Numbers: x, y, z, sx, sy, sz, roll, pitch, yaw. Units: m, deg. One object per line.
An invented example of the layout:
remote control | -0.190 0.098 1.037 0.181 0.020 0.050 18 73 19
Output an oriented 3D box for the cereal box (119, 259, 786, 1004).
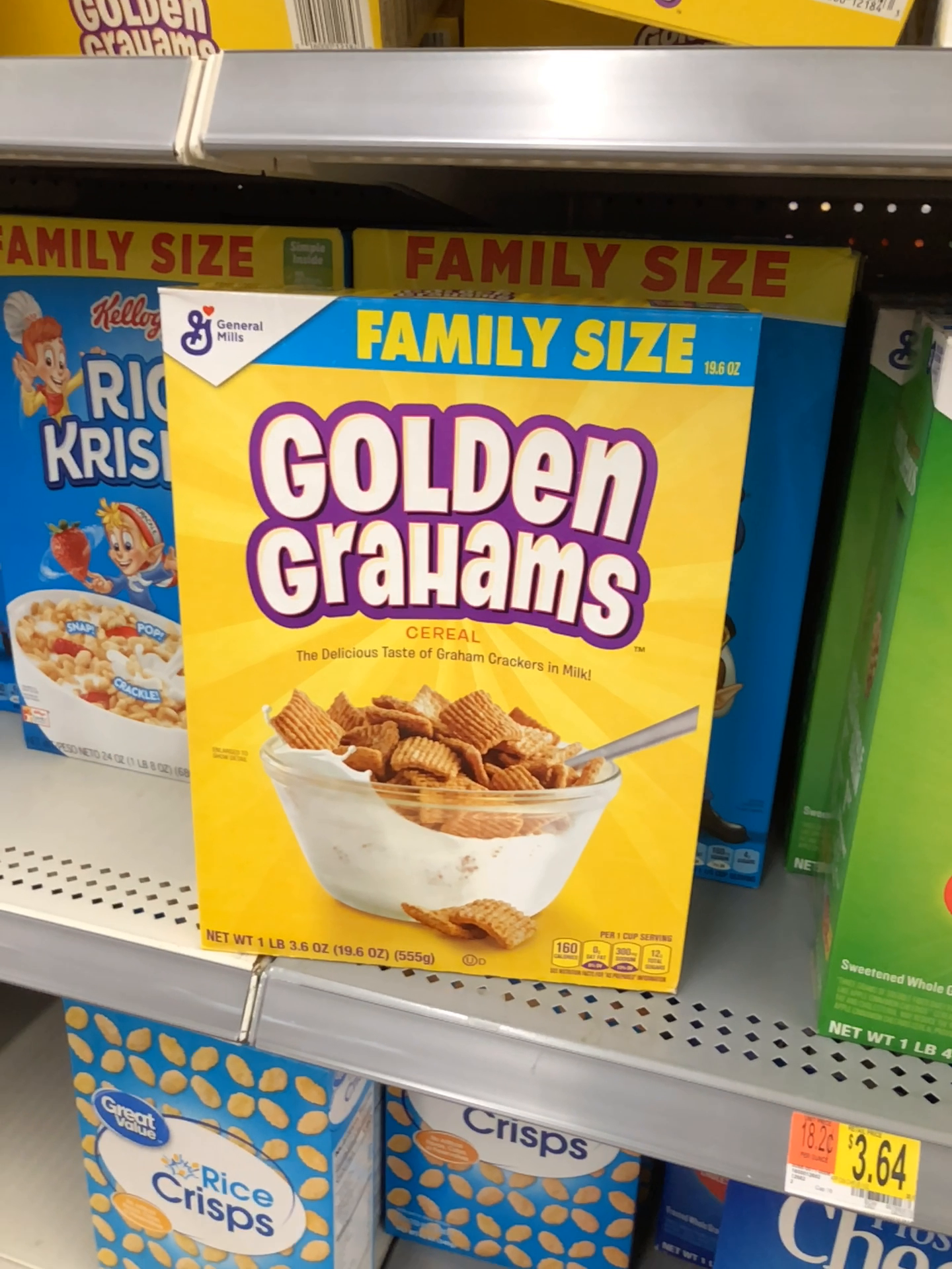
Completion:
cereal box | -0.013 0.004 0.467 0.240 0.309 0.070 4 22 5
